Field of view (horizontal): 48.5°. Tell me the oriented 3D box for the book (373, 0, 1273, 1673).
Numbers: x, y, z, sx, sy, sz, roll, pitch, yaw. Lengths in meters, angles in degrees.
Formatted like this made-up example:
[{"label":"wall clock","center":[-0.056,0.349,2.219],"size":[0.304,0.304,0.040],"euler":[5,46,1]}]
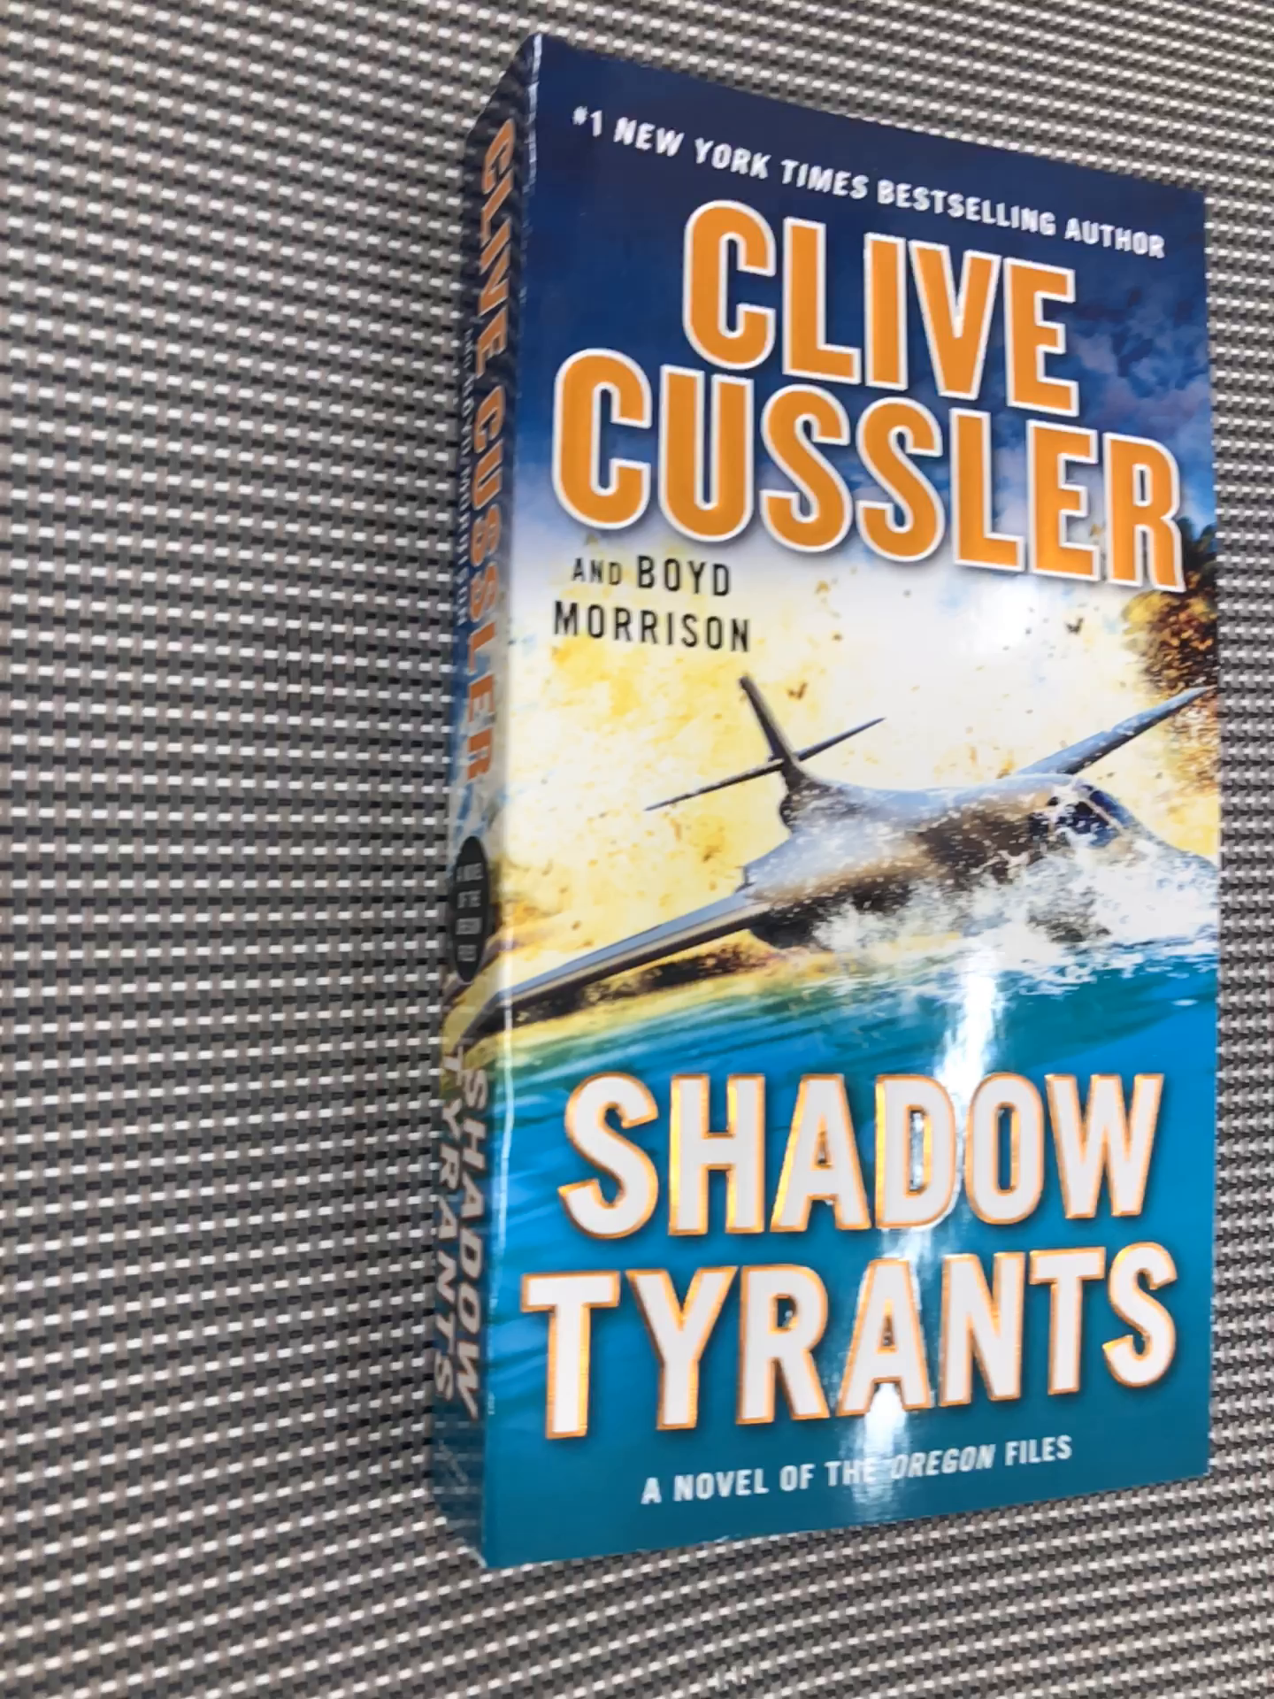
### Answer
[{"label":"book","center":[0.031,-0.002,0.201],"size":[0.120,0.060,0.180],"euler":[3,84,-21]}]
